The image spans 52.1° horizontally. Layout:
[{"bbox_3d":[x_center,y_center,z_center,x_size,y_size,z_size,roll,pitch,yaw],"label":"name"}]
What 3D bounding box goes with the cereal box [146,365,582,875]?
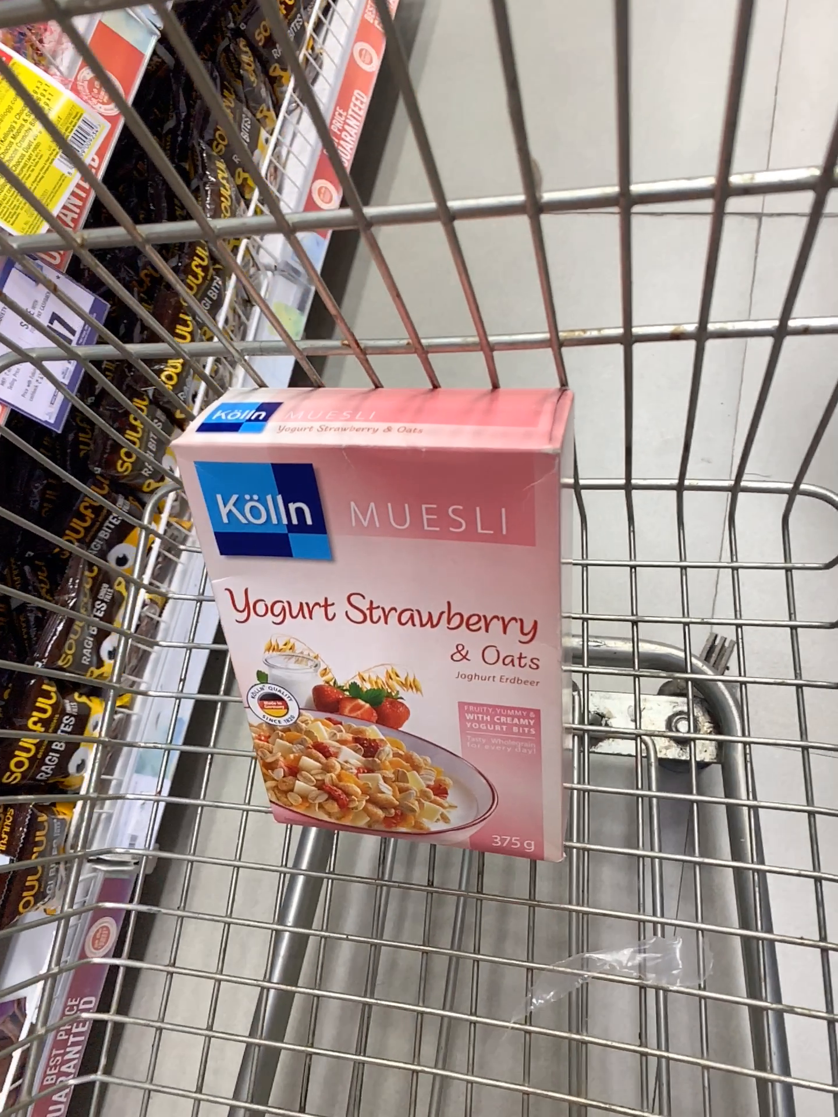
[{"bbox_3d":[-0.009,0.033,0.367,0.150,0.220,0.050,3,33,15],"label":"cereal box"}]
